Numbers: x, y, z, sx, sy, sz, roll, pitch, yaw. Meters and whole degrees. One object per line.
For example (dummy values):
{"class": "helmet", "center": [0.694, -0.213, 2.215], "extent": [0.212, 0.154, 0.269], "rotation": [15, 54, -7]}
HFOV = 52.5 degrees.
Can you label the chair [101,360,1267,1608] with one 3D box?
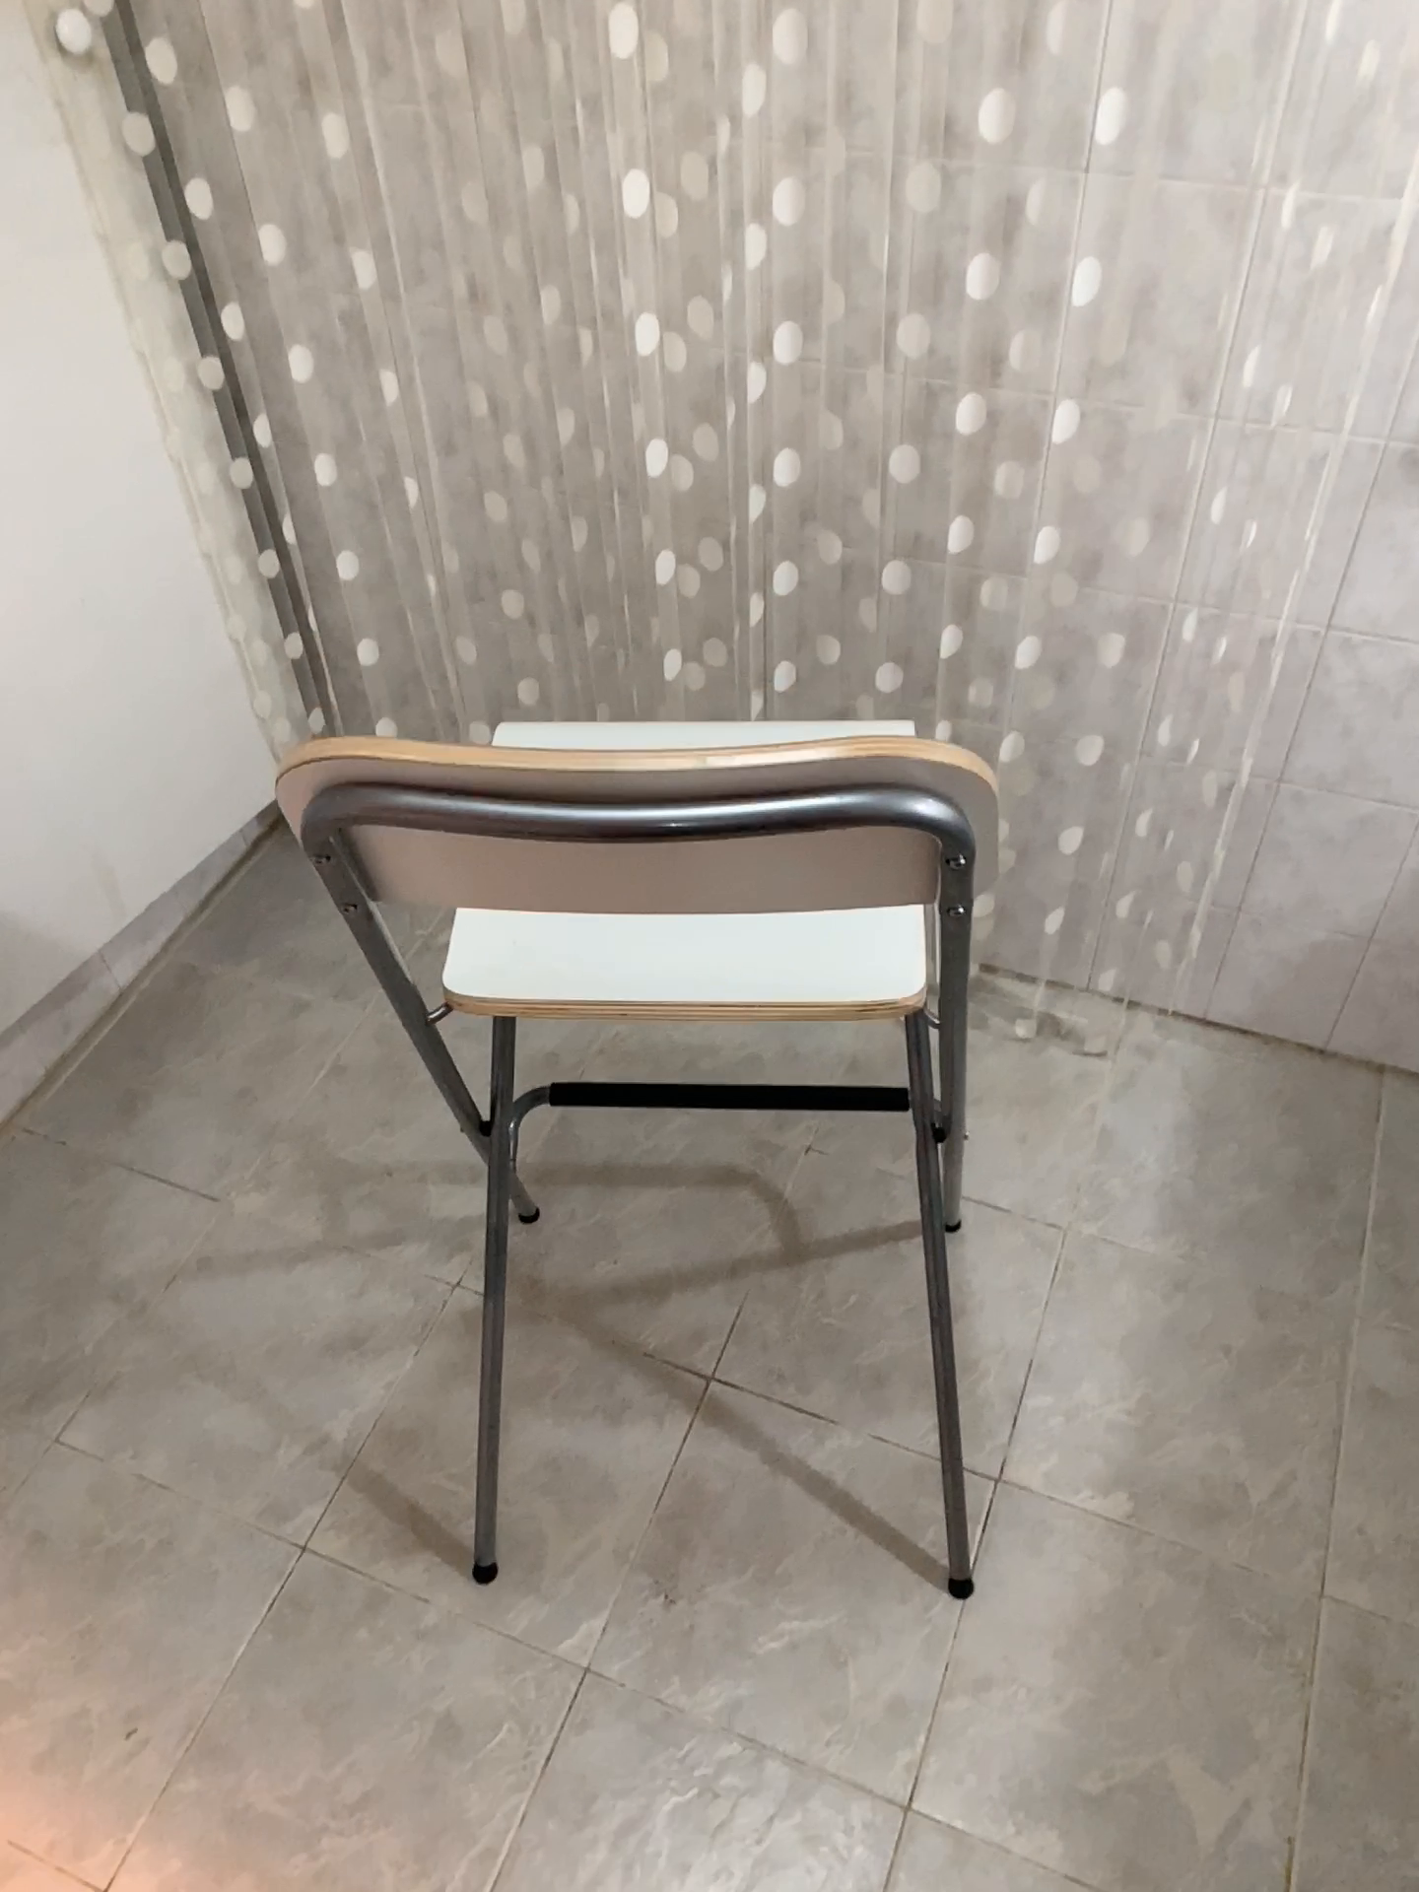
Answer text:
{"class": "chair", "center": [0.005, 0.119, 1.189], "extent": [0.537, 1.008, 0.468], "rotation": [0, 47, 2]}
